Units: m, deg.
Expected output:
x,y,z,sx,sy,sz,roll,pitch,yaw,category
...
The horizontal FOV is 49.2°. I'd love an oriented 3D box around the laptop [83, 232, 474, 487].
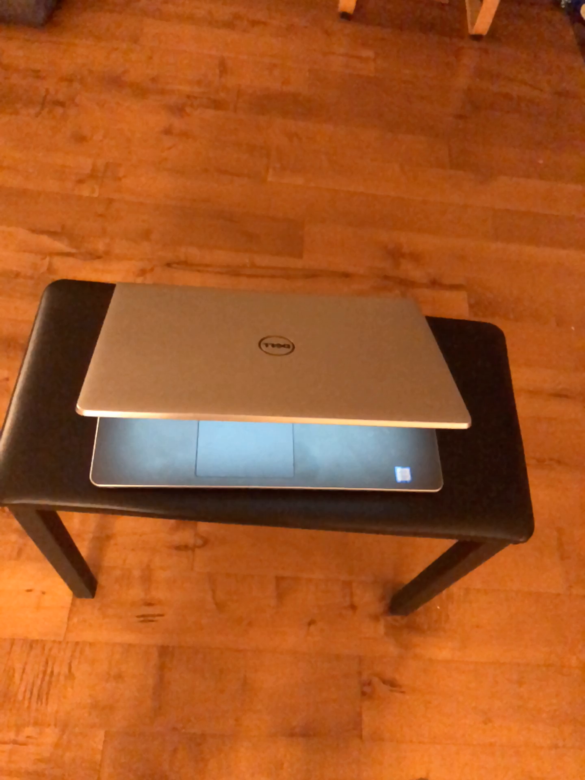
x,y,z,sx,sy,sz,roll,pitch,yaw,category
-0.018,-0.033,0.704,0.365,0.107,0.248,2,58,-7,laptop
